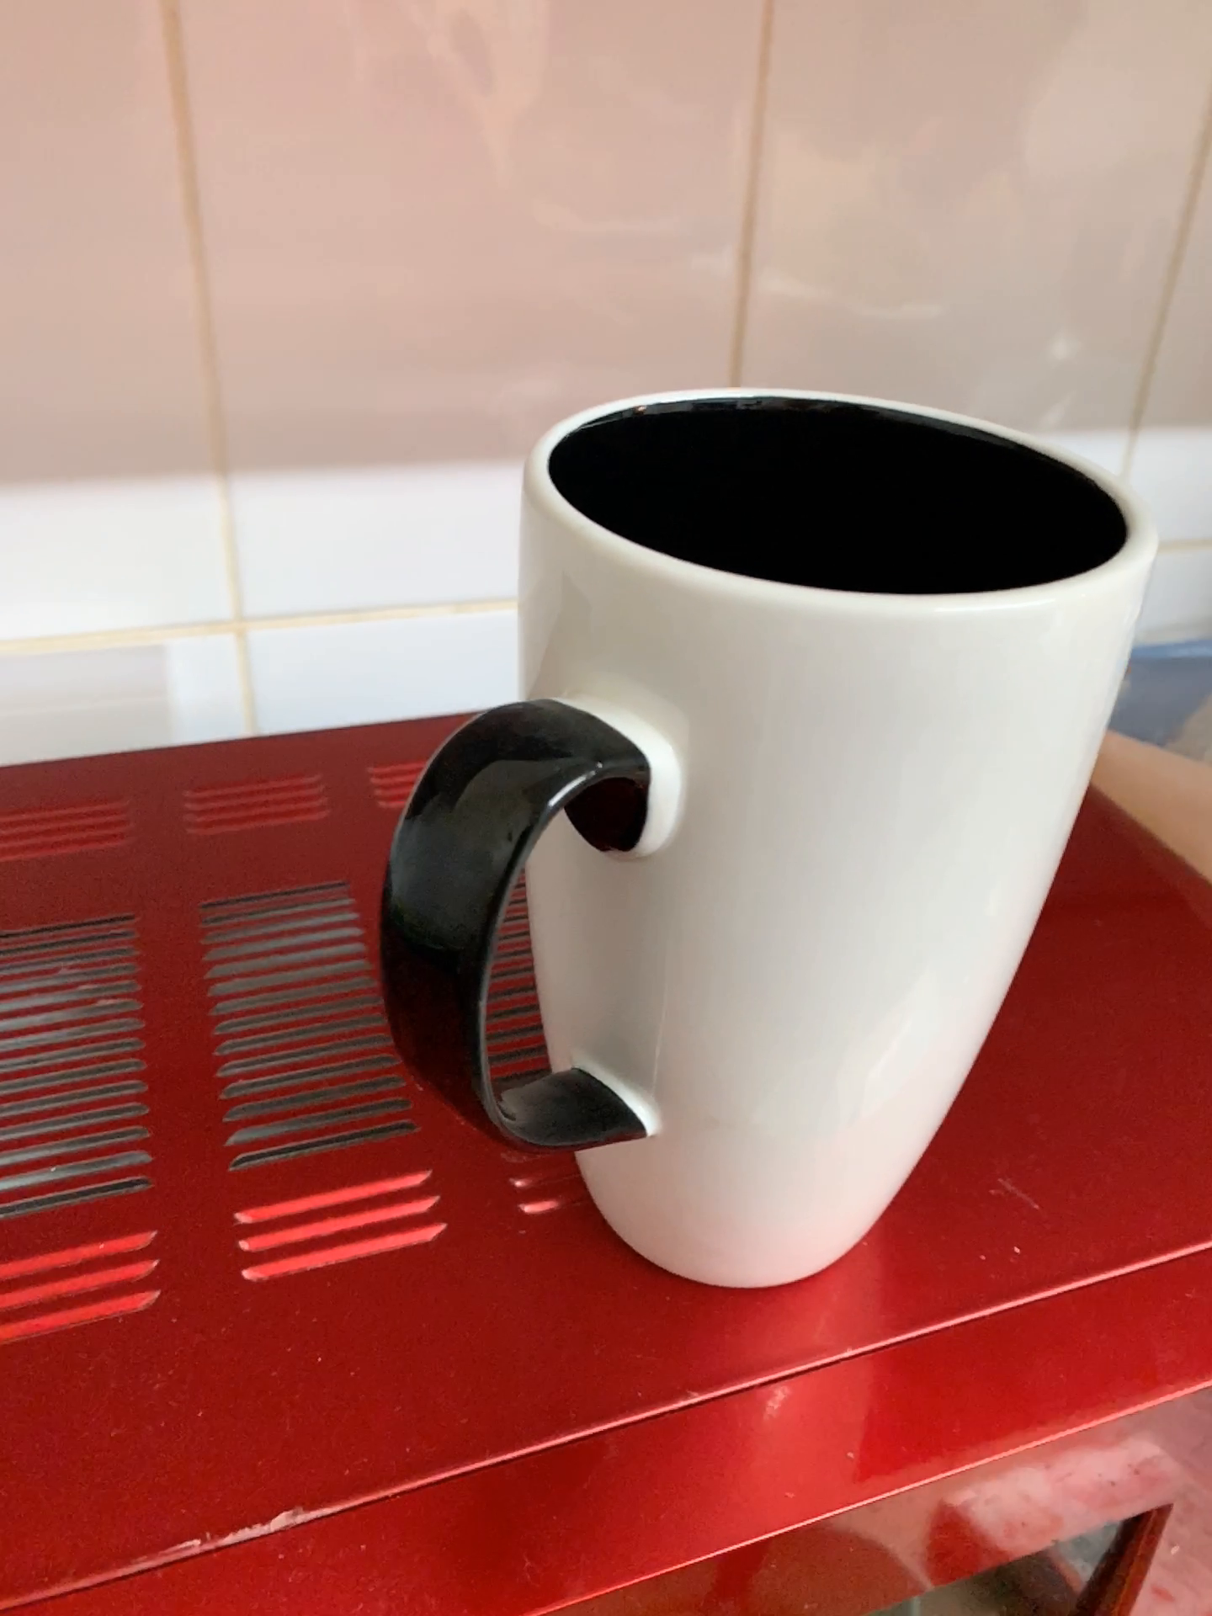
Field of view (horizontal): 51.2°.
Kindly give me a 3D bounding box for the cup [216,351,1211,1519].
[{"bbox_3d":[0.023,0.007,0.210,0.130,0.129,0.091,-20,39,-32],"label":"cup"}]
